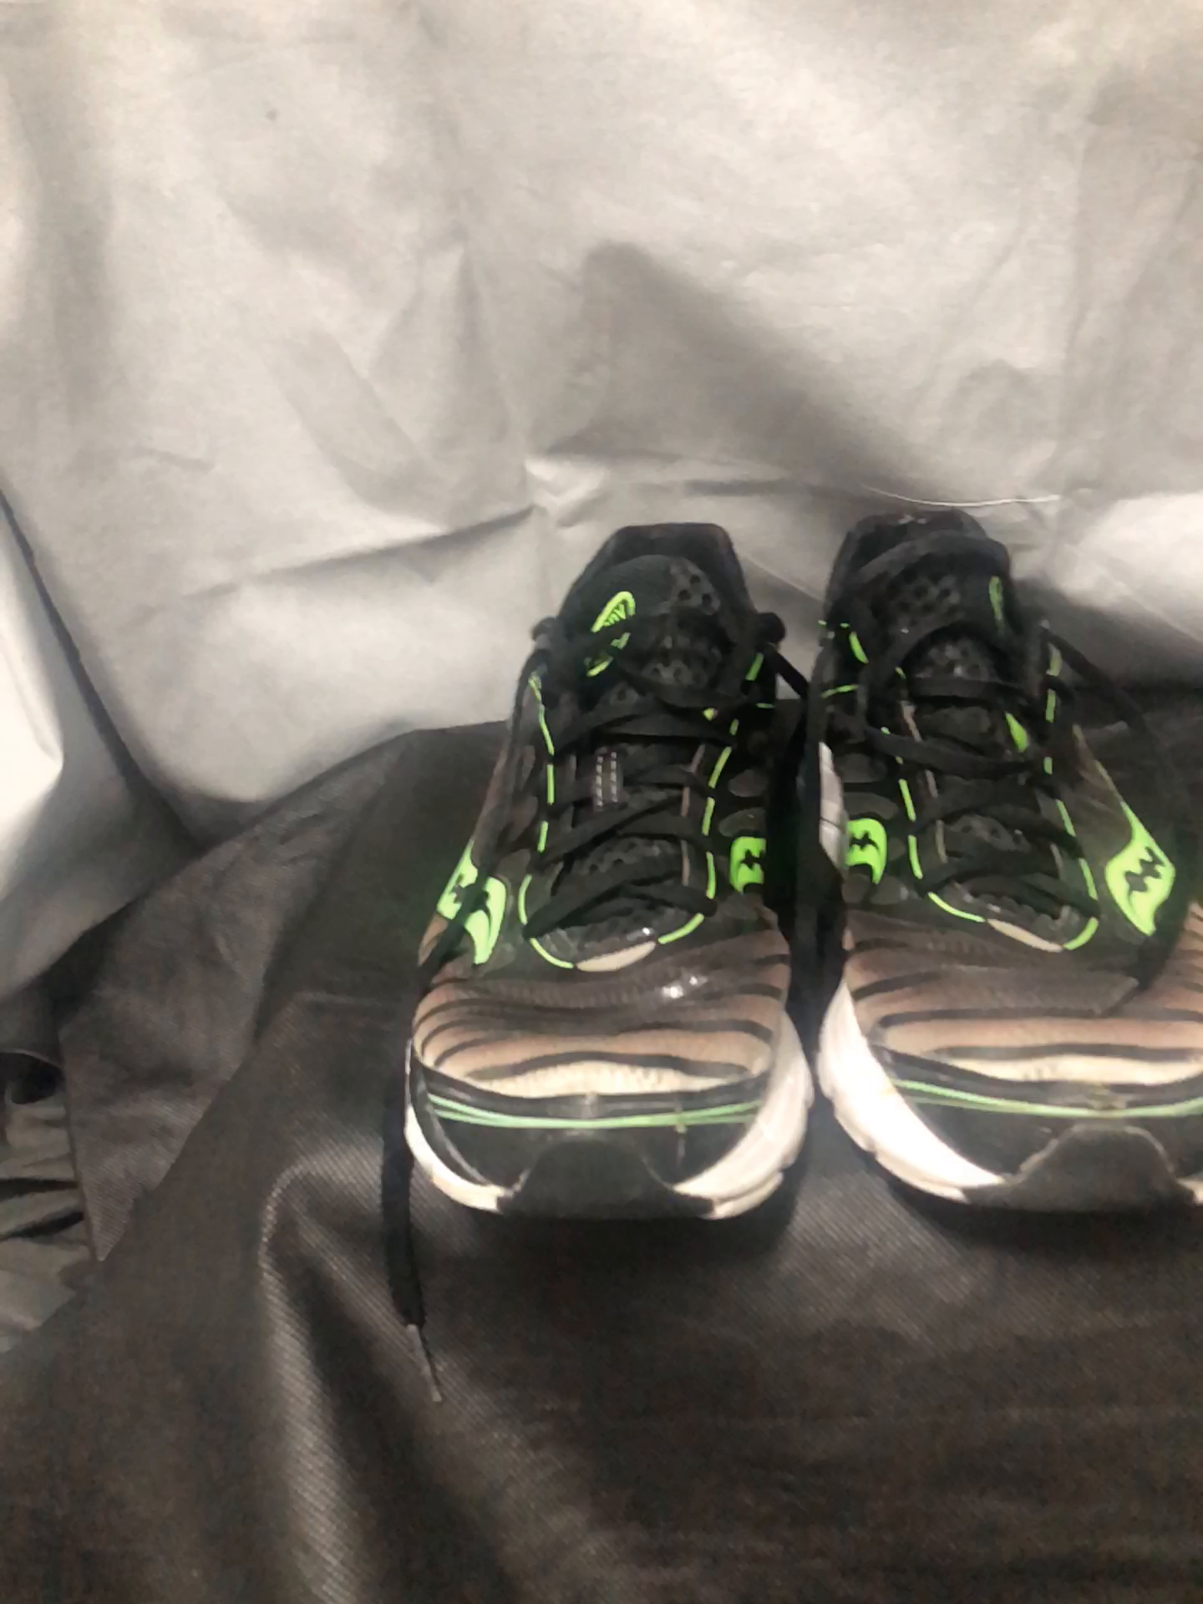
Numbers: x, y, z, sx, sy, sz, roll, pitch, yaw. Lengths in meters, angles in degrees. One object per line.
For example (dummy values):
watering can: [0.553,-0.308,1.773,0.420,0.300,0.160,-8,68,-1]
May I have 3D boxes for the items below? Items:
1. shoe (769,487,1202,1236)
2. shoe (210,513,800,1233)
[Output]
shoe: [0.108,-0.003,0.364,0.114,0.097,0.225,-2,29,6]
shoe: [-0.008,0.001,0.379,0.116,0.096,0.225,-2,29,6]
